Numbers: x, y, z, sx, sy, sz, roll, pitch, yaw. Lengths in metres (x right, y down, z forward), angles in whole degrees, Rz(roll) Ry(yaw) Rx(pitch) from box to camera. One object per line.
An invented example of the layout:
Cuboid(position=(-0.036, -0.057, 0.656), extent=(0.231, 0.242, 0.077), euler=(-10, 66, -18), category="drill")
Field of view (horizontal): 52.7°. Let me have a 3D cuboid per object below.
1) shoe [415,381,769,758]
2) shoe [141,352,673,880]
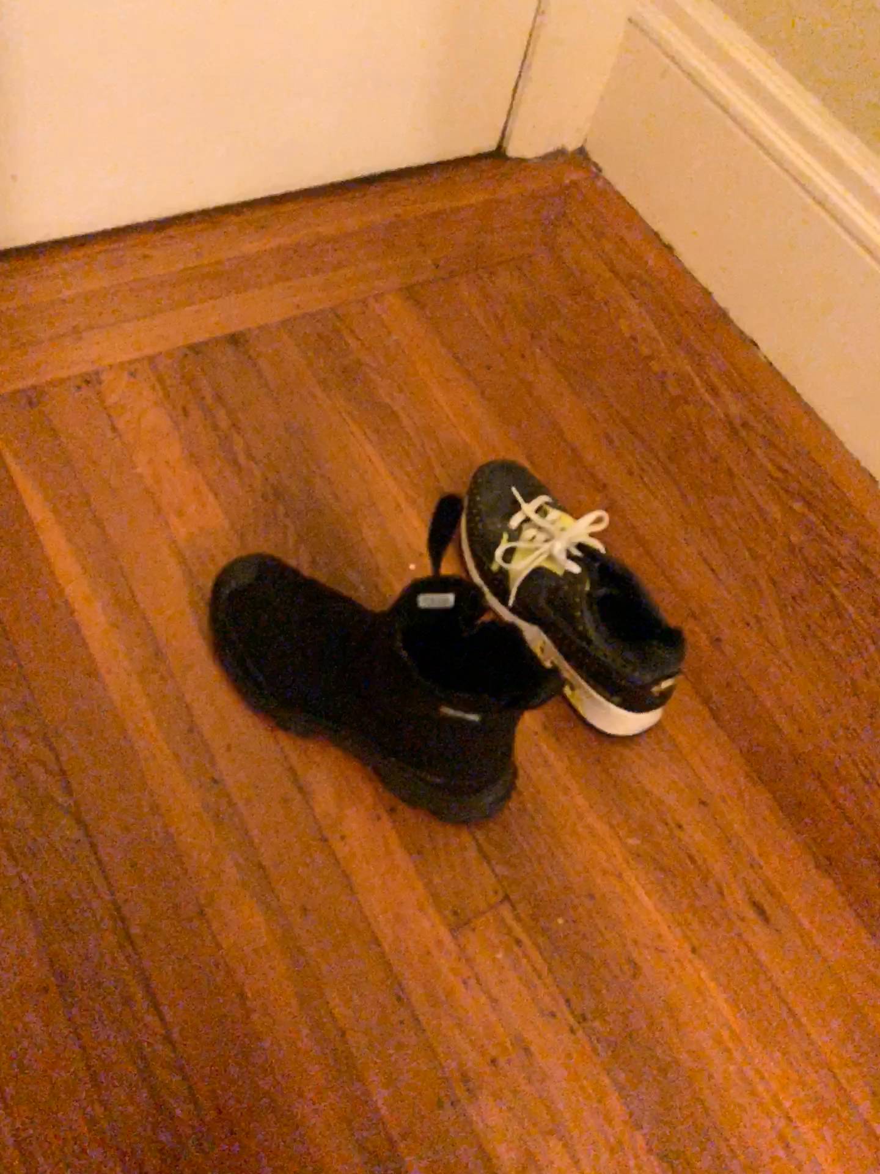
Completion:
Cuboid(position=(0.117, -0.021, 0.755), extent=(0.120, 0.100, 0.290), euler=(-27, 70, -25), category="shoe")
Cuboid(position=(-0.039, 0.033, 0.671), extent=(0.310, 0.239, 0.160), euler=(36, 59, 9), category="shoe")
